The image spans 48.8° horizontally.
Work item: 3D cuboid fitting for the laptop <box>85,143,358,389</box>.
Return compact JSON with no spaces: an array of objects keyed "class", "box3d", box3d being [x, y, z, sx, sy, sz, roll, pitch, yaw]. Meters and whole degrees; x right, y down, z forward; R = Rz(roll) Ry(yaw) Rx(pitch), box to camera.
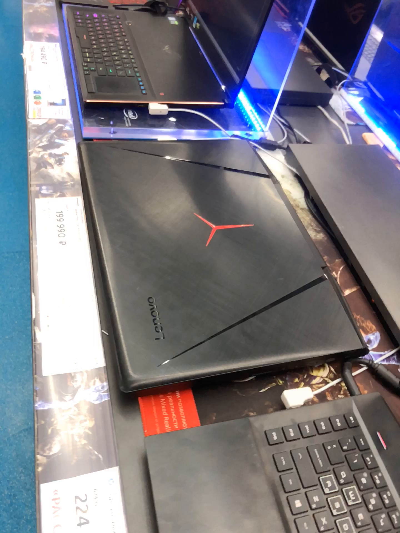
[{"class":"laptop","box3d":[0.004,-0.045,0.598,0.269,0.005,0.401,-6,51,-17]}]
